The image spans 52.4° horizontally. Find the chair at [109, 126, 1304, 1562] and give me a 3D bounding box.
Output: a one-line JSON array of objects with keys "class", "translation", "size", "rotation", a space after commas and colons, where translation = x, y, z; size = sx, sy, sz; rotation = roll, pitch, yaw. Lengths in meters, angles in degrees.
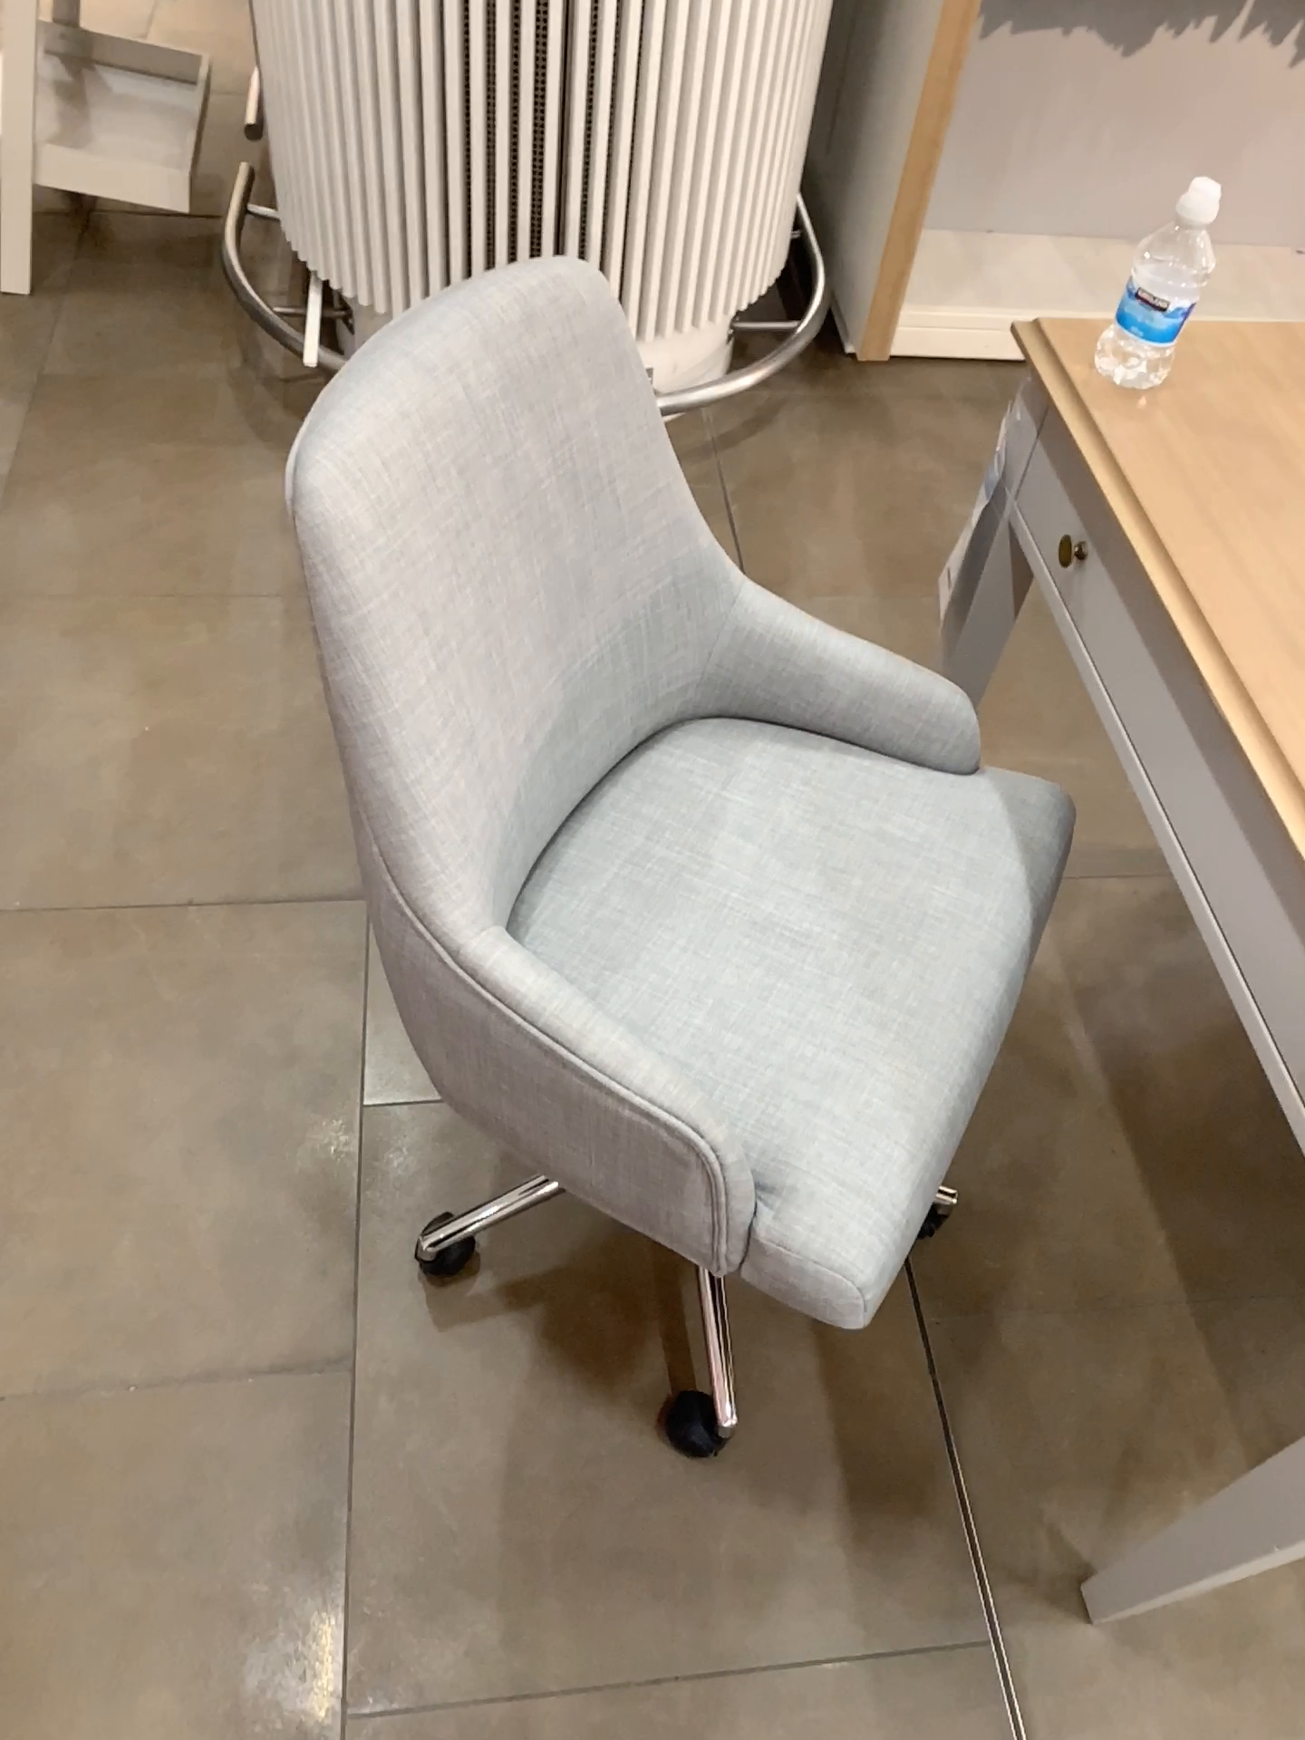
[{"class": "chair", "translation": [0.098, 0.021, 1.151], "size": [0.636, 0.891, 0.629], "rotation": [27, 53, 14]}]
